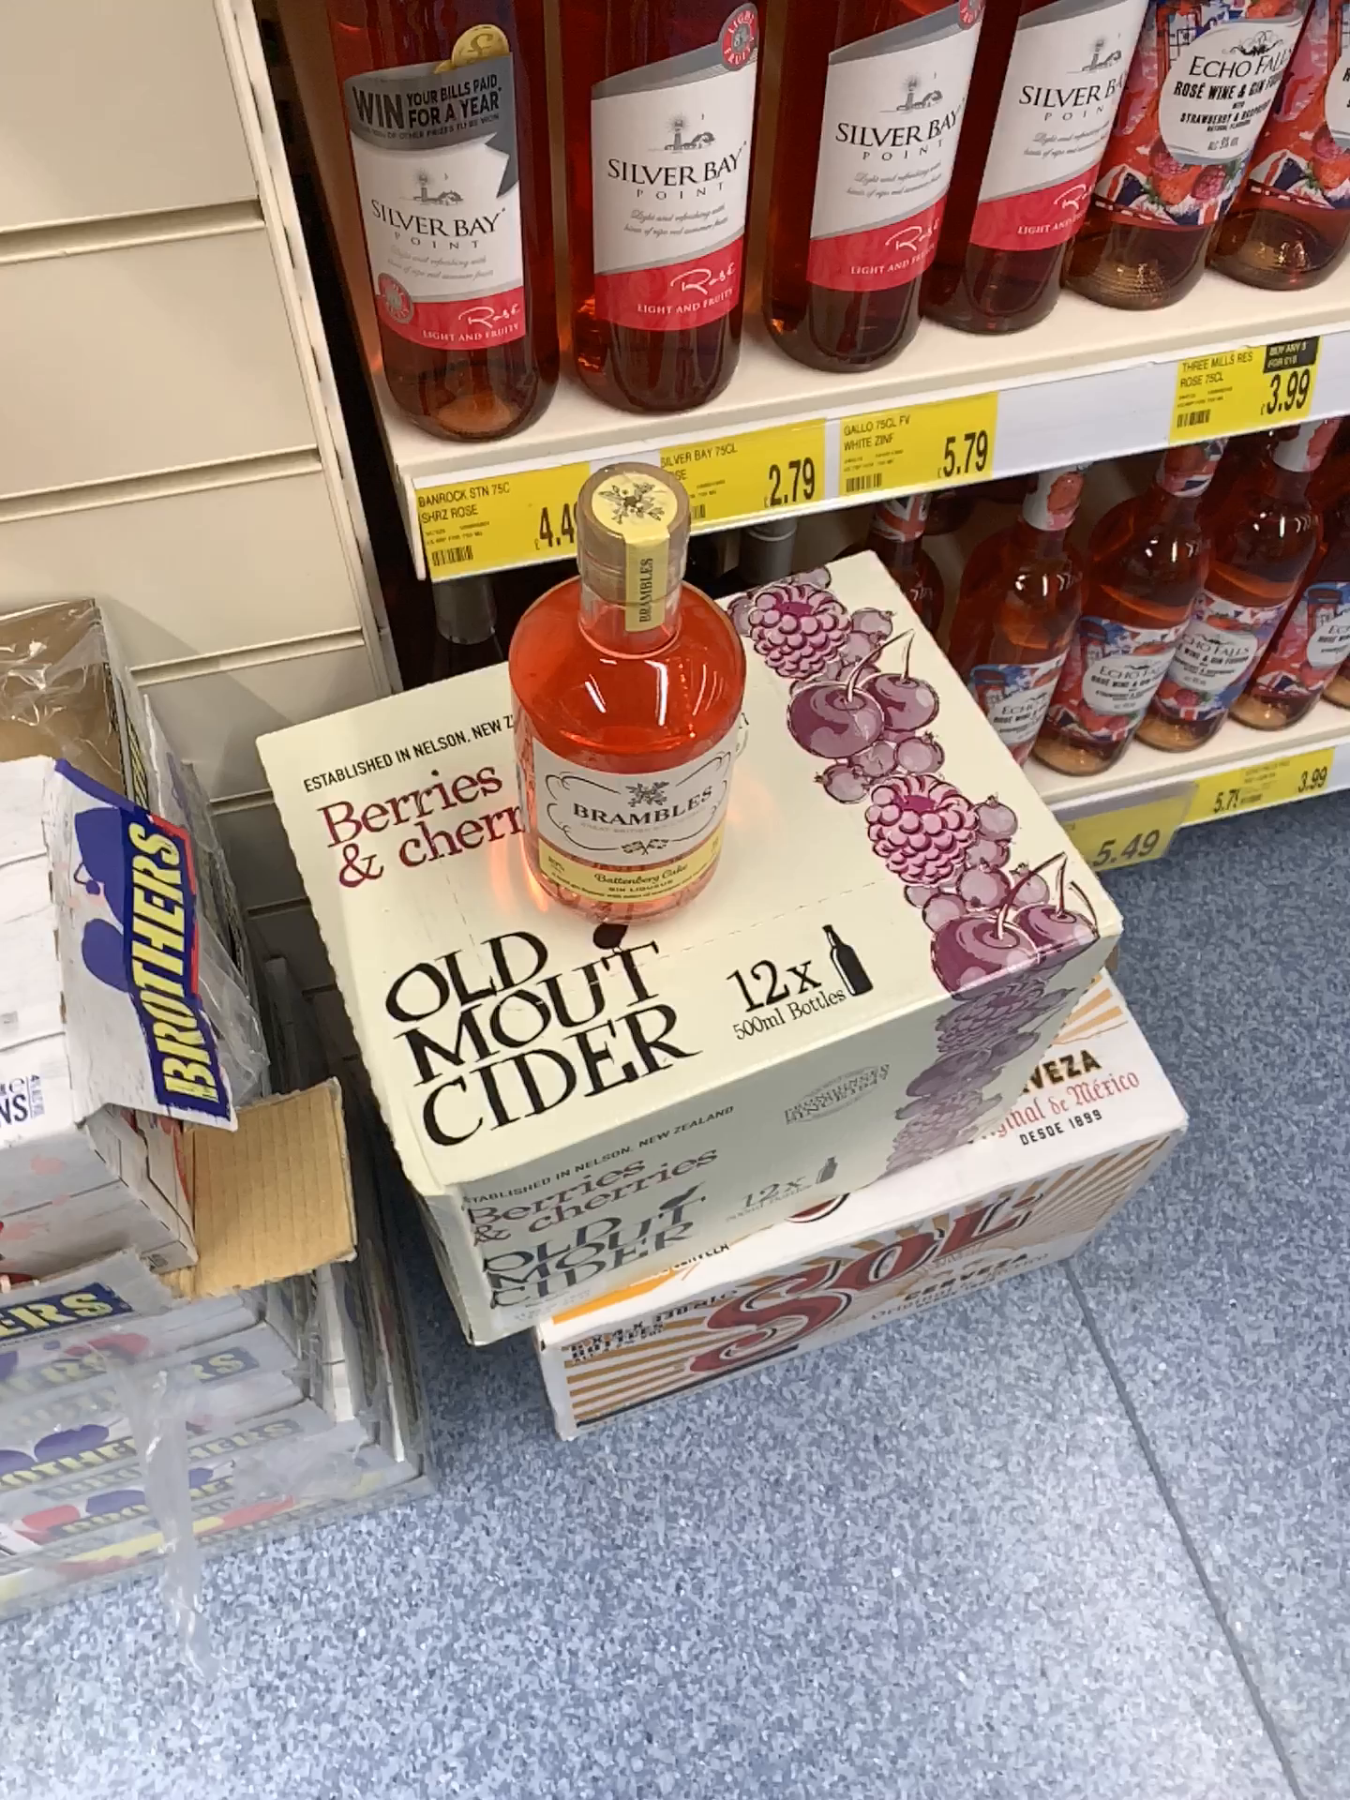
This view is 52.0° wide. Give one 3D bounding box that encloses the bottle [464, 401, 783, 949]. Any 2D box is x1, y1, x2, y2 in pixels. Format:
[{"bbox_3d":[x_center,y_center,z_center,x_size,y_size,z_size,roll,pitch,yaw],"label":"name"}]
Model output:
[{"bbox_3d":[-0.018,-0.066,0.468,0.077,0.176,0.076,1,58,-1],"label":"bottle"}]
